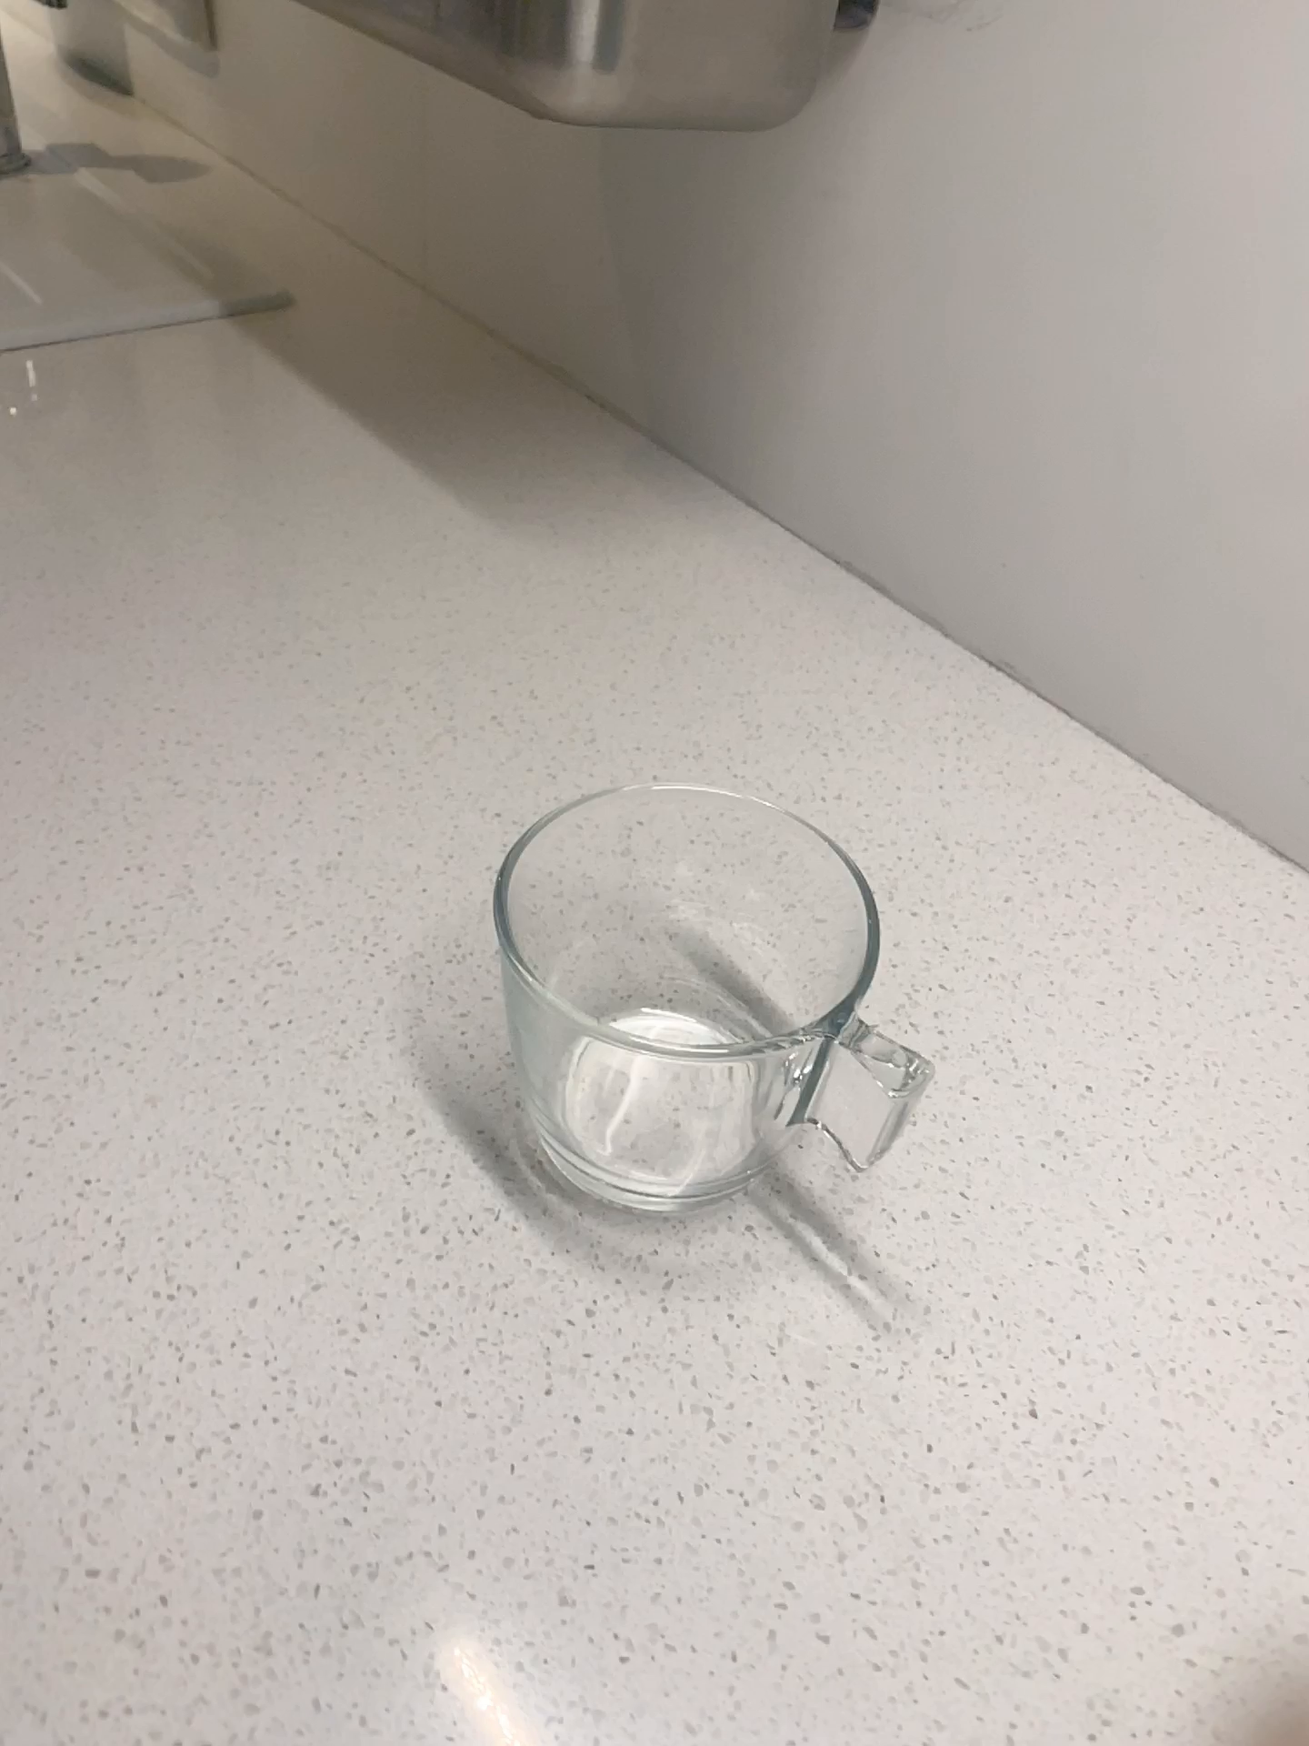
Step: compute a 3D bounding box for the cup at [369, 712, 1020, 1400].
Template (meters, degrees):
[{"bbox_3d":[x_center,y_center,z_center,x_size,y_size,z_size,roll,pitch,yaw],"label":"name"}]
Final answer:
[{"bbox_3d":[0.004,0.036,0.318,0.090,0.080,0.110,-29,53,-33],"label":"cup"}]
